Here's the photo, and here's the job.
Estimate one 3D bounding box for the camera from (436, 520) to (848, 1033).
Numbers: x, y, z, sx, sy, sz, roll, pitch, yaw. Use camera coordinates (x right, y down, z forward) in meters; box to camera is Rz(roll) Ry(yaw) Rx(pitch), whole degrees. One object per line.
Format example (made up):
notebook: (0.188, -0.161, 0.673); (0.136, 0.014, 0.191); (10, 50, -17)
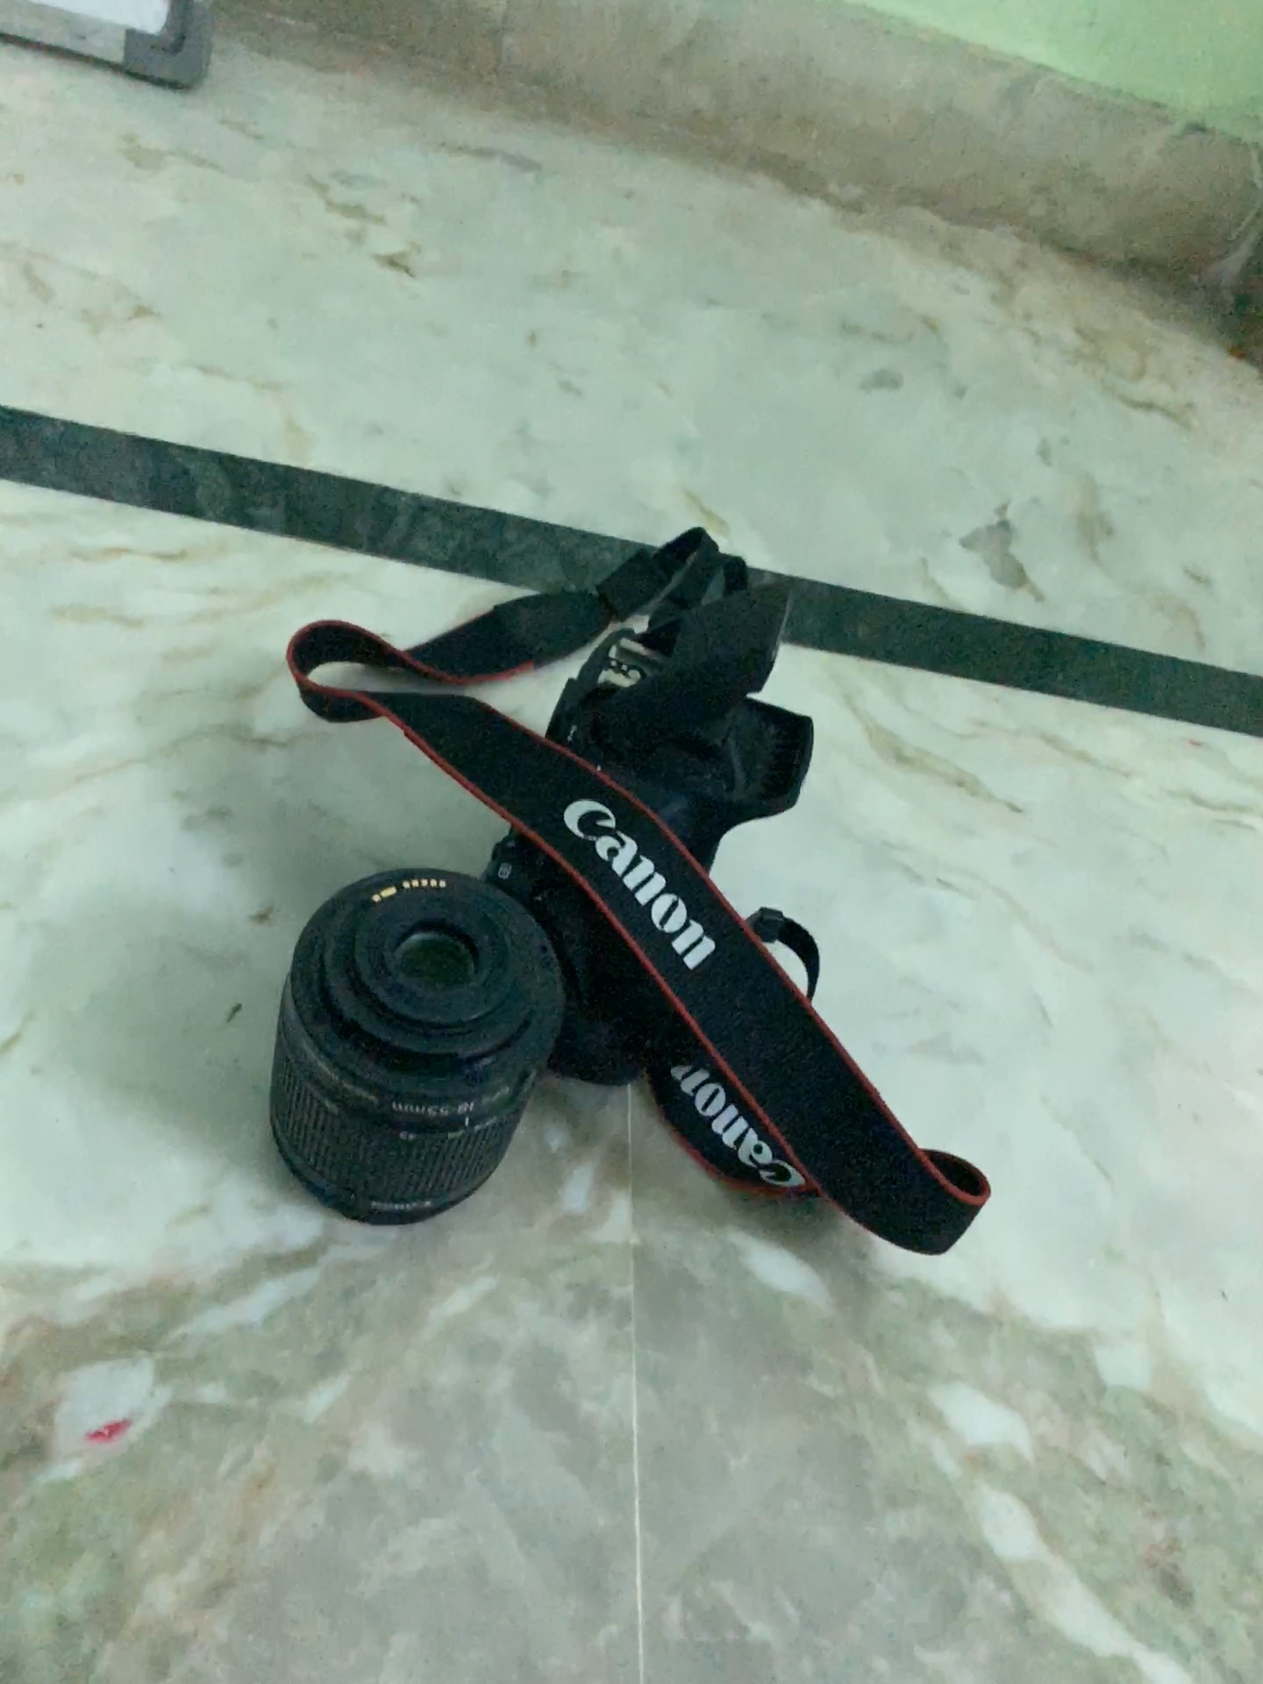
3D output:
camera: (0.005, -0.022, 0.392); (0.082, 0.078, 0.112); (21, 47, -2)
